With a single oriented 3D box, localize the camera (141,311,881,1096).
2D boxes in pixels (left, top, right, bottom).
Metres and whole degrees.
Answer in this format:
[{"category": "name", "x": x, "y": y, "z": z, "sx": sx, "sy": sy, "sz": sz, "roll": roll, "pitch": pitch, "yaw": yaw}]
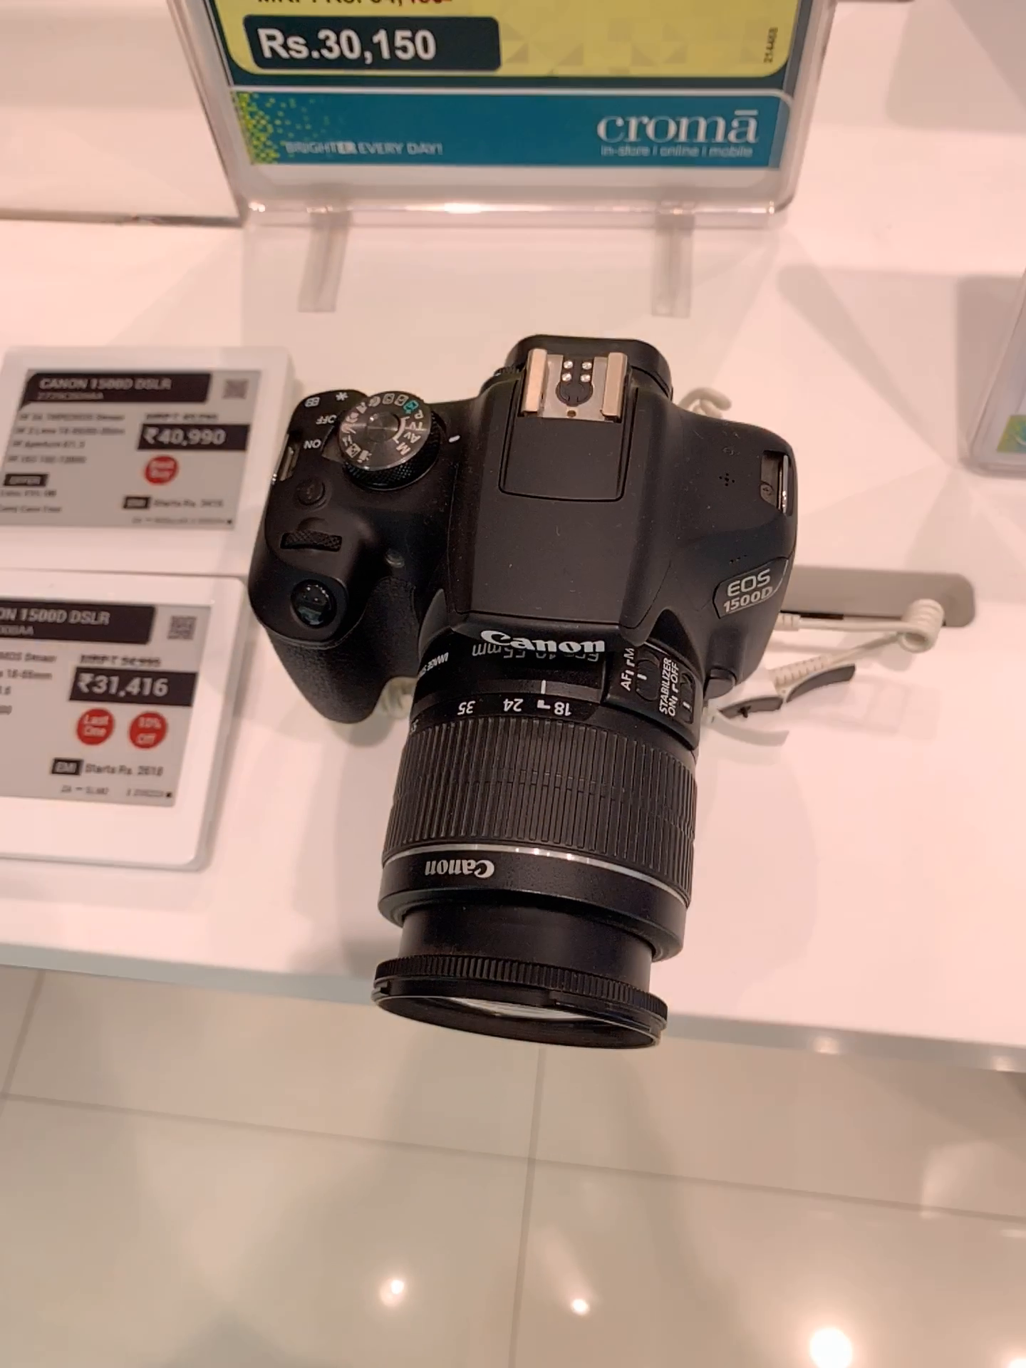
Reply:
[{"category": "camera", "x": 0.008, "y": 0.006, "z": 0.225, "sx": 0.110, "sy": 0.090, "sz": 0.130, "roll": 5, "pitch": 64, "yaw": 6}]
